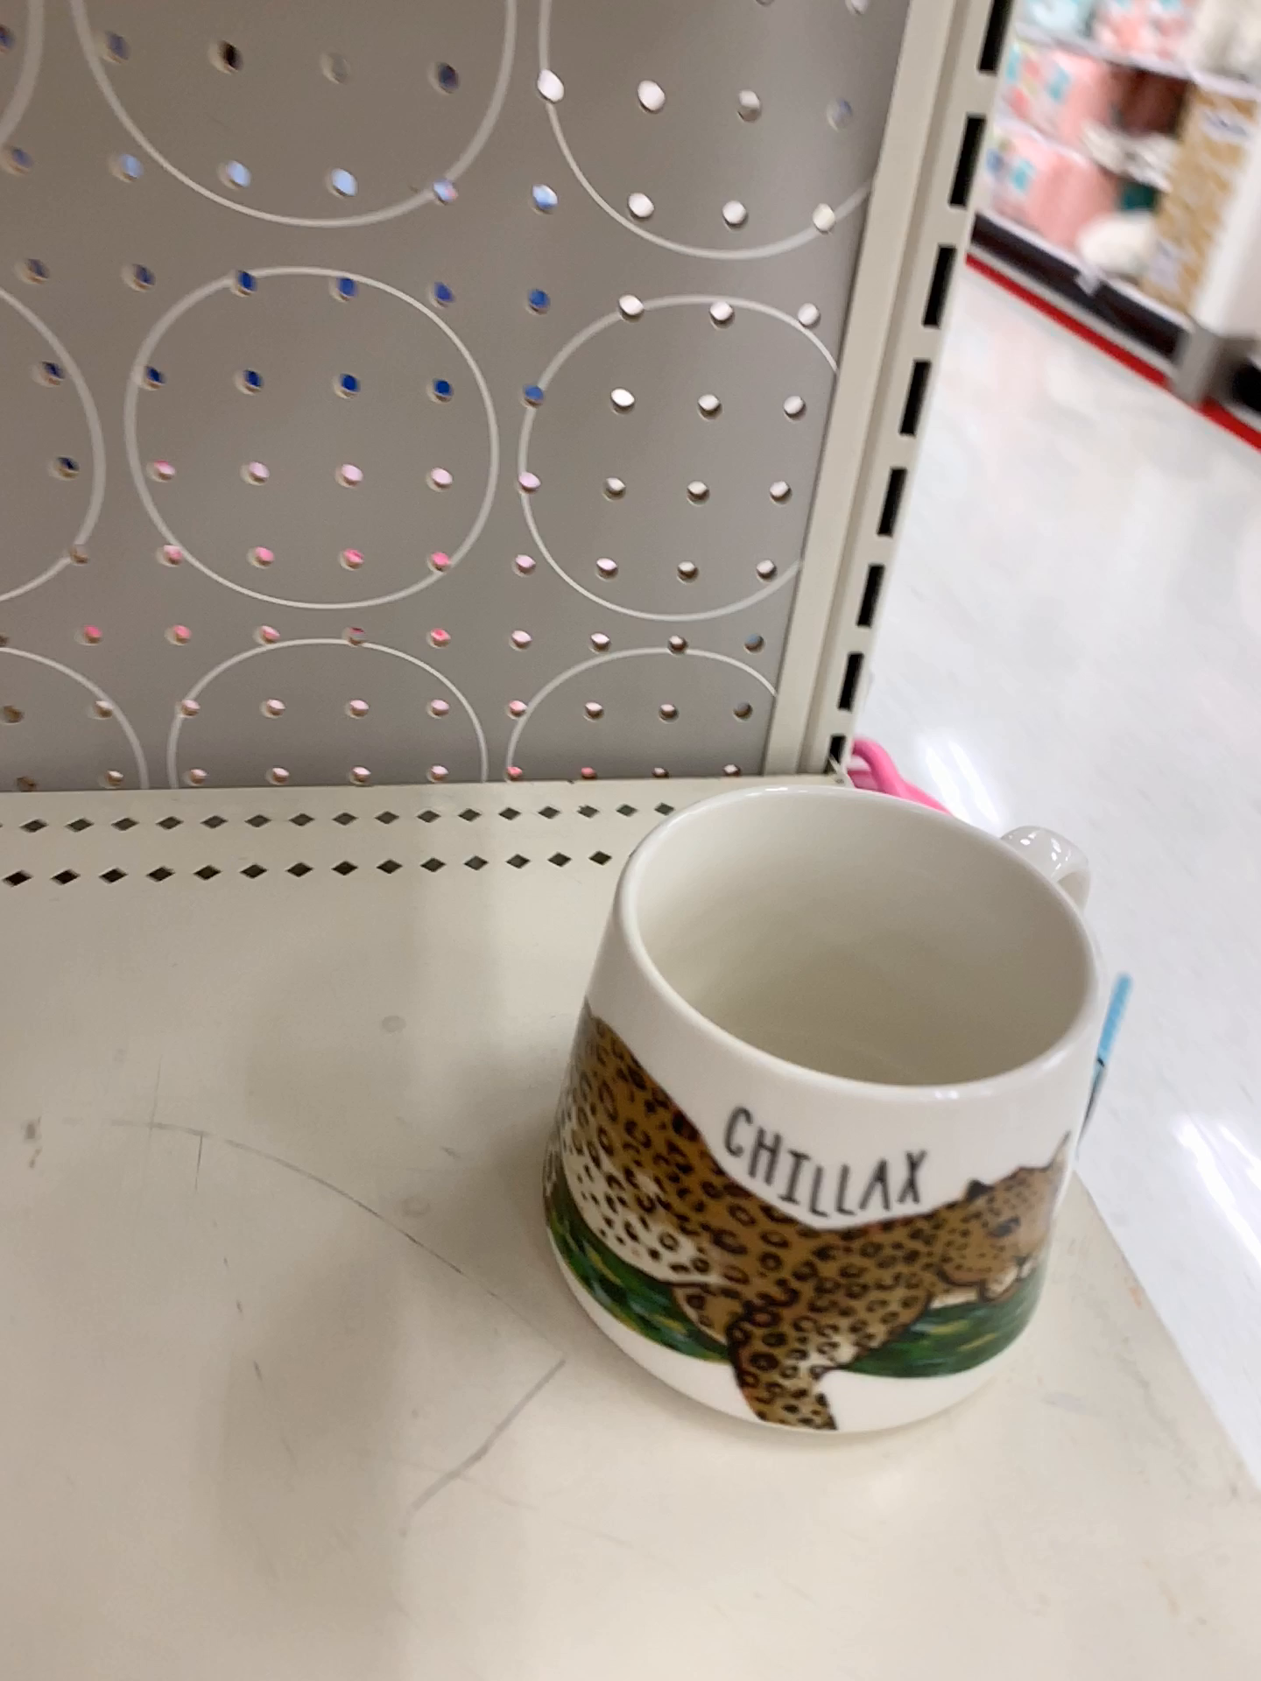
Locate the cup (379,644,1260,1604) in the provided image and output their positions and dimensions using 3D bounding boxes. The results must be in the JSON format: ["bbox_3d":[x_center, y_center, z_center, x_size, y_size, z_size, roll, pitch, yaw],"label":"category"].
[{"bbox_3d":[0.040,0.040,0.264,0.140,0.090,0.110,-26,47,-37],"label":"cup"}]
